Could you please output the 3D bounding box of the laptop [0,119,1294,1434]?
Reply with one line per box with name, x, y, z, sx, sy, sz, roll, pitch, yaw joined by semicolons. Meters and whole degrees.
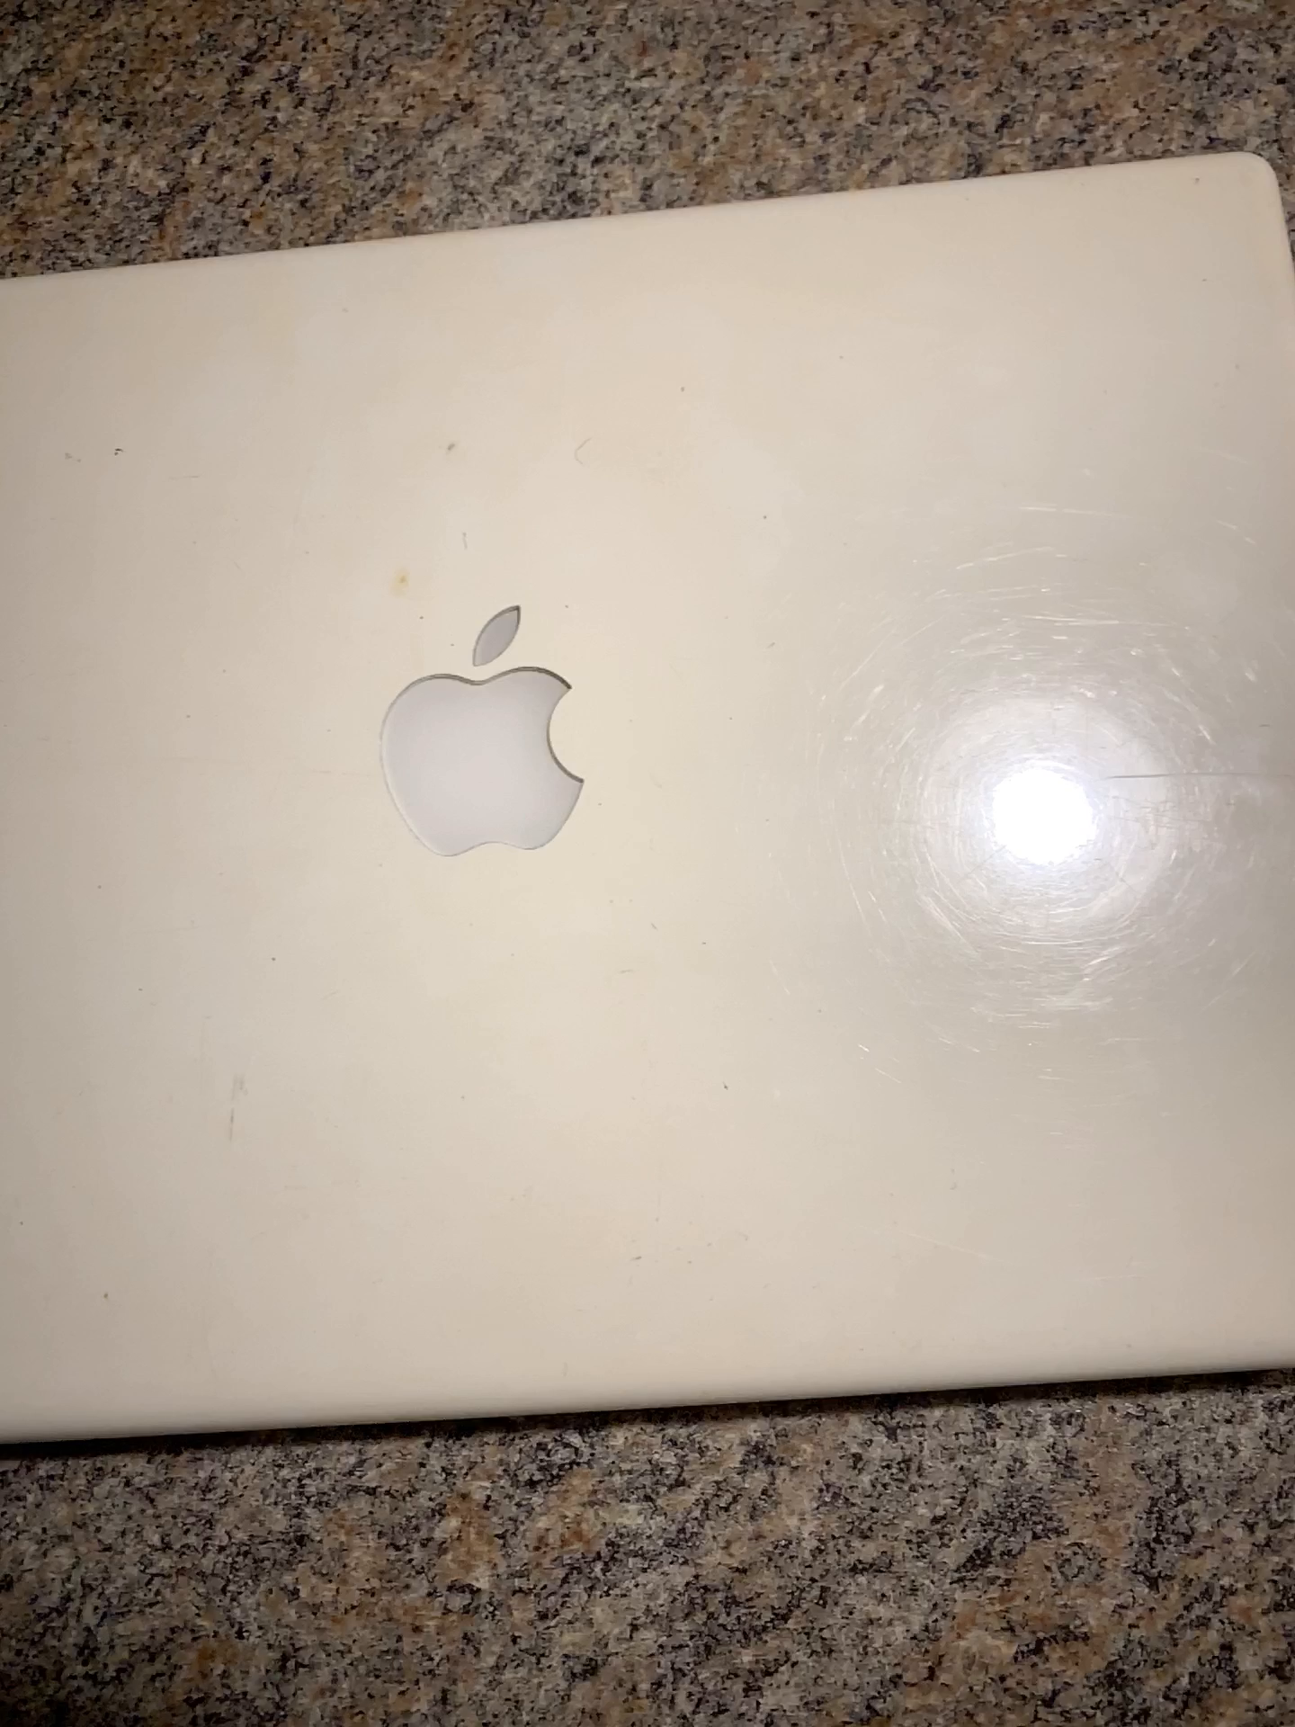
laptop;-0.033;-0.017;0.230;0.305;0.002;0.205;-5;78;7
